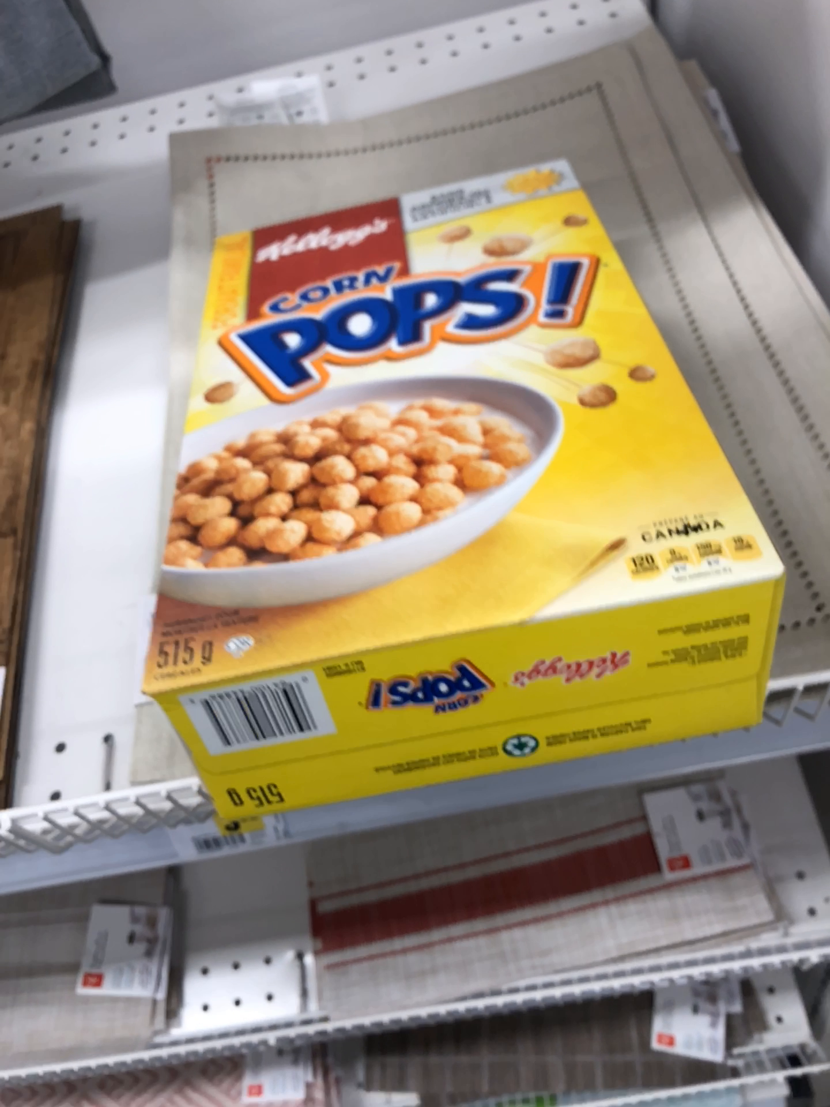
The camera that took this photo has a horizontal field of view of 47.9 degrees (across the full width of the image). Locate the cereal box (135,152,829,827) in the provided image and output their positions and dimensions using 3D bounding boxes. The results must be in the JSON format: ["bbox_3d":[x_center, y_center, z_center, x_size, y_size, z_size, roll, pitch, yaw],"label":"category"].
[{"bbox_3d":[0.010,-0.064,0.433,0.220,0.080,0.341,-9,44,0],"label":"cereal box"}]
